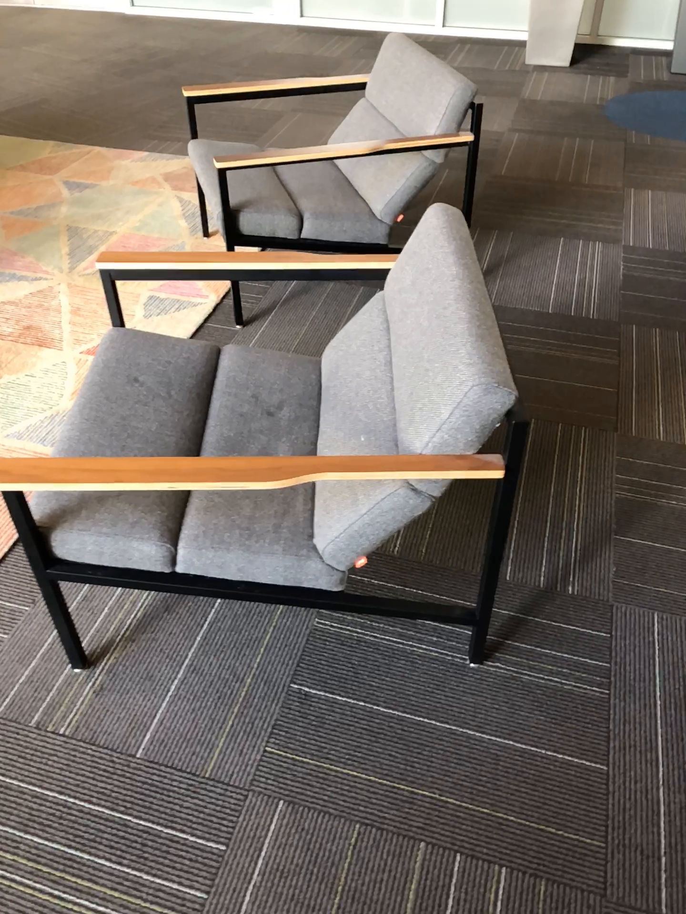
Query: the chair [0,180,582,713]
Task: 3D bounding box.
[{"bbox_3d":[-0.140,-0.051,1.547,0.920,0.697,0.794,-3,40,0],"label":"chair"}]
